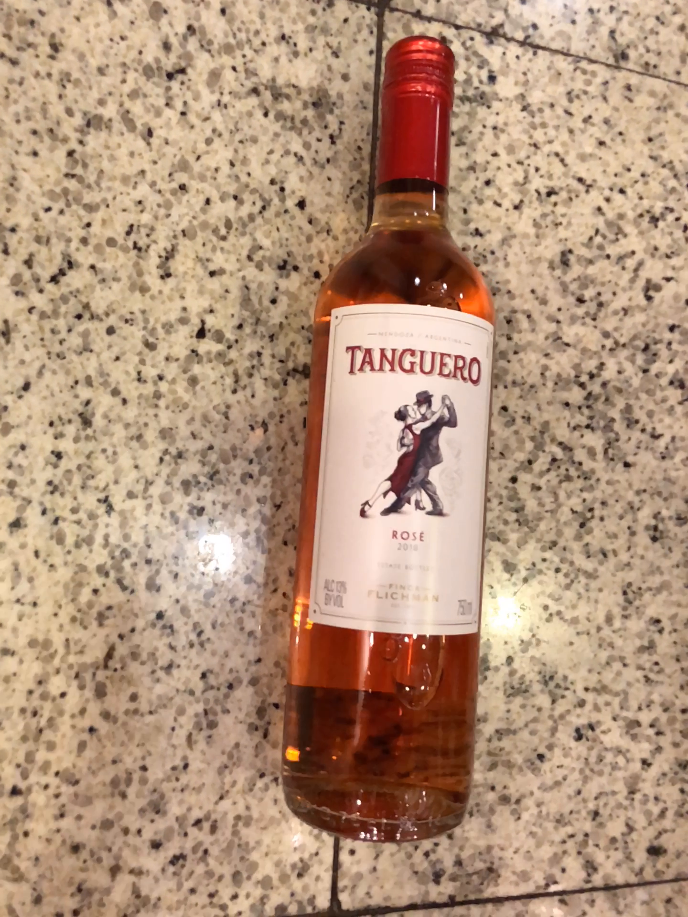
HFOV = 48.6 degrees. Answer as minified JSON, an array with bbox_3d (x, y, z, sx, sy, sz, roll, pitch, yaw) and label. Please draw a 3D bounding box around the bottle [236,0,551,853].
[{"bbox_3d":[0.019,-0.029,0.295,0.090,0.060,0.320,5,85,-17],"label":"bottle"}]
